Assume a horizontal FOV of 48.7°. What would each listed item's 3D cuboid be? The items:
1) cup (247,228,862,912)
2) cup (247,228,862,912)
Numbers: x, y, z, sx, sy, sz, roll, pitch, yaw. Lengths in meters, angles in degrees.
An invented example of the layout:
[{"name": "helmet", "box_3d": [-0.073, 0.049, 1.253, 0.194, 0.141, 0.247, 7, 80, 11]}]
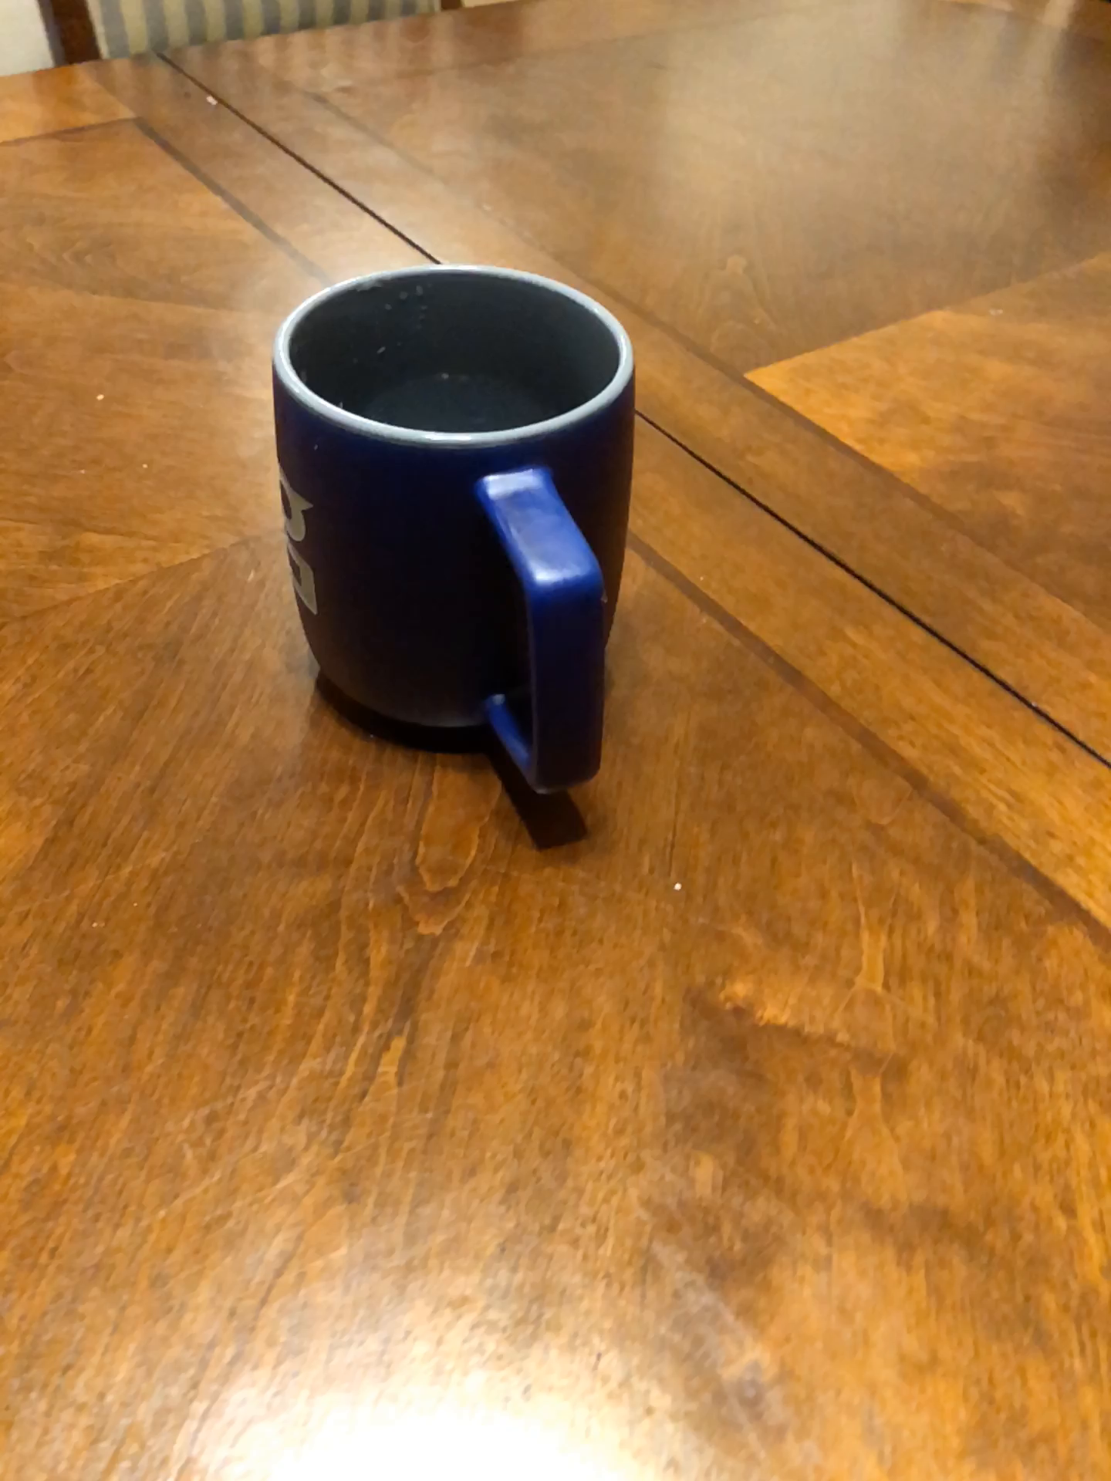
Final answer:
[{"name": "cup", "box_3d": [-0.010, -0.052, 0.326, 0.100, 0.099, 0.141, -14, 48, -17]}, {"name": "cup", "box_3d": [-0.010, -0.052, 0.326, 0.100, 0.099, 0.141, -14, 48, -17]}]
